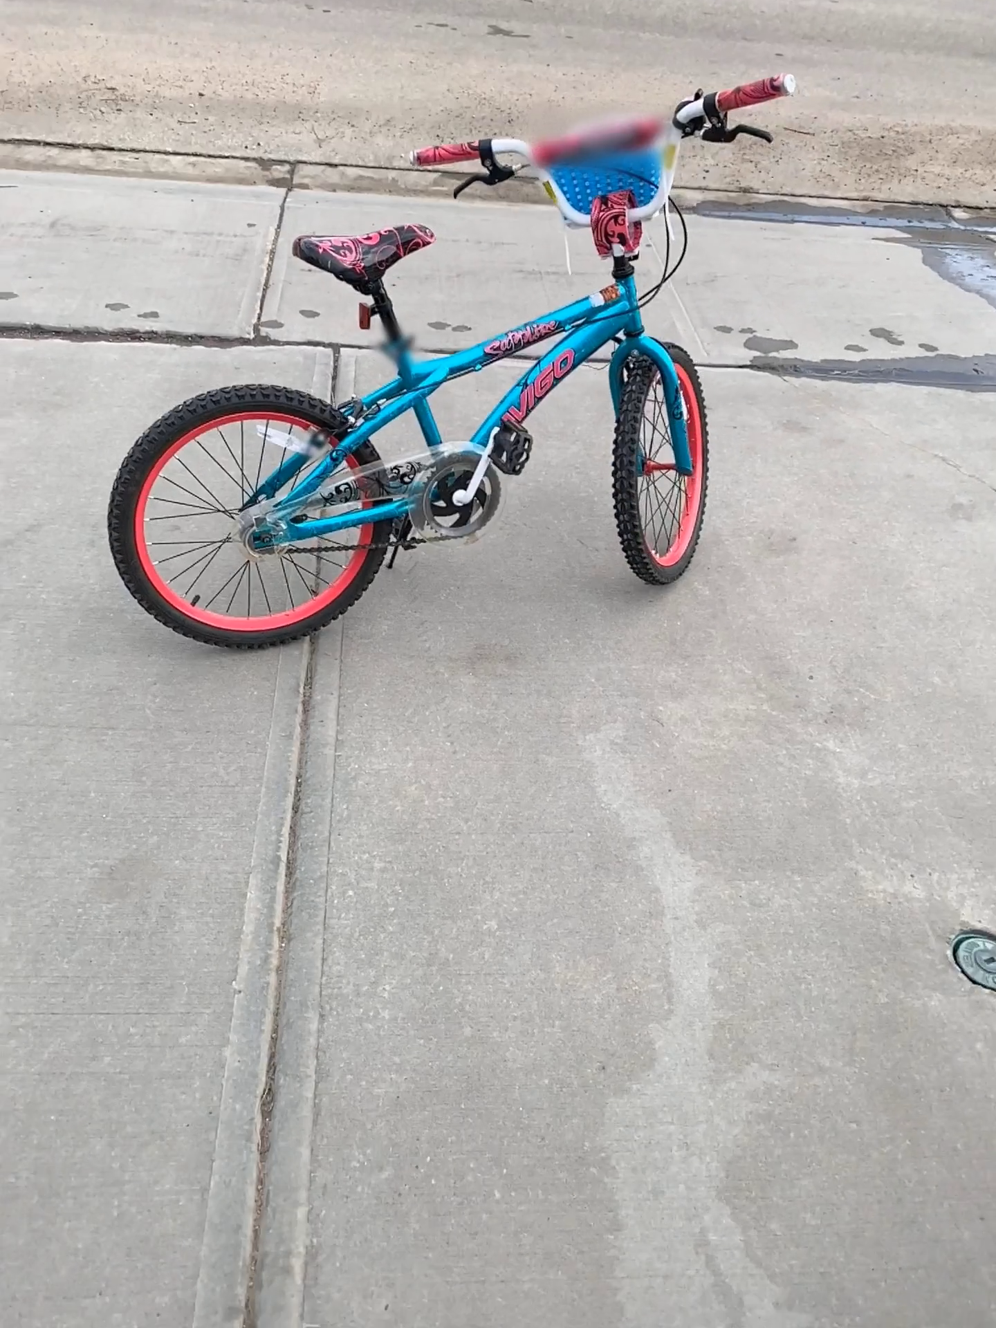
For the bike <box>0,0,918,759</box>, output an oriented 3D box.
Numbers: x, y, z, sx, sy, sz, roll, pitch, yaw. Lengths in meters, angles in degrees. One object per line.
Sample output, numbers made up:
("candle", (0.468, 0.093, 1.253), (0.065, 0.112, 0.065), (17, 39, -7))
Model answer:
("bike", (-0.108, -0.635, 1.850), (1.257, 0.946, 0.748), (-19, 48, -23))
